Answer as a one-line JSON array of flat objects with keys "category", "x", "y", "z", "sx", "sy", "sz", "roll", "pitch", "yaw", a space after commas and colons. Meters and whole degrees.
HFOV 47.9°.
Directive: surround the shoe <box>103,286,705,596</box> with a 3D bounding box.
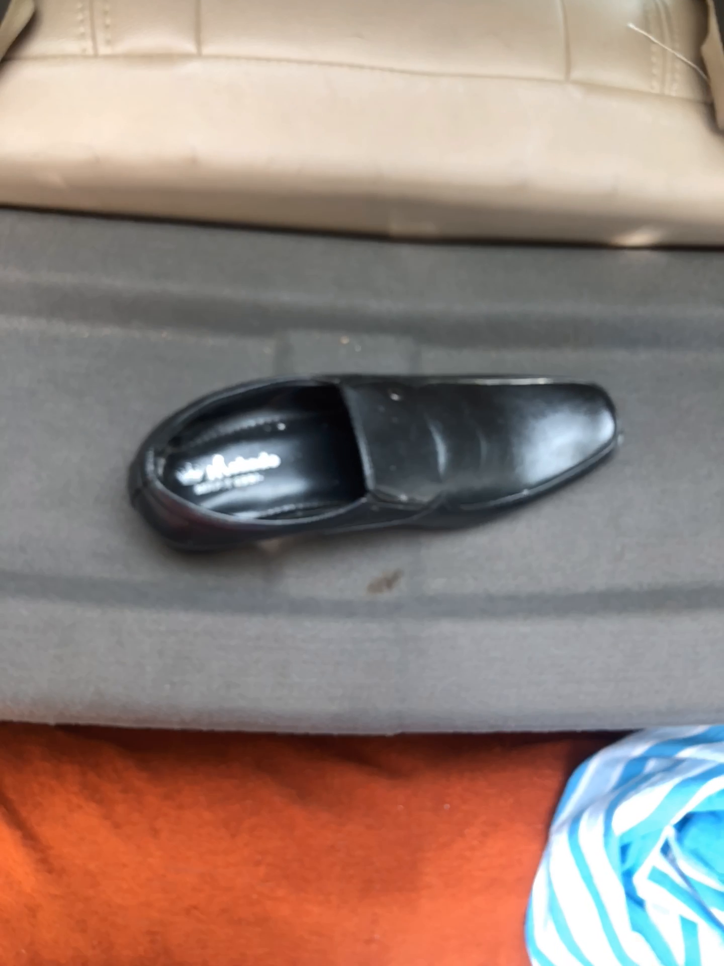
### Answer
[{"category": "shoe", "x": 0.022, "y": -0.024, "z": 0.461, "sx": 0.300, "sy": 0.080, "sz": 0.100, "roll": -11, "pitch": 72, "yaw": -9}]
